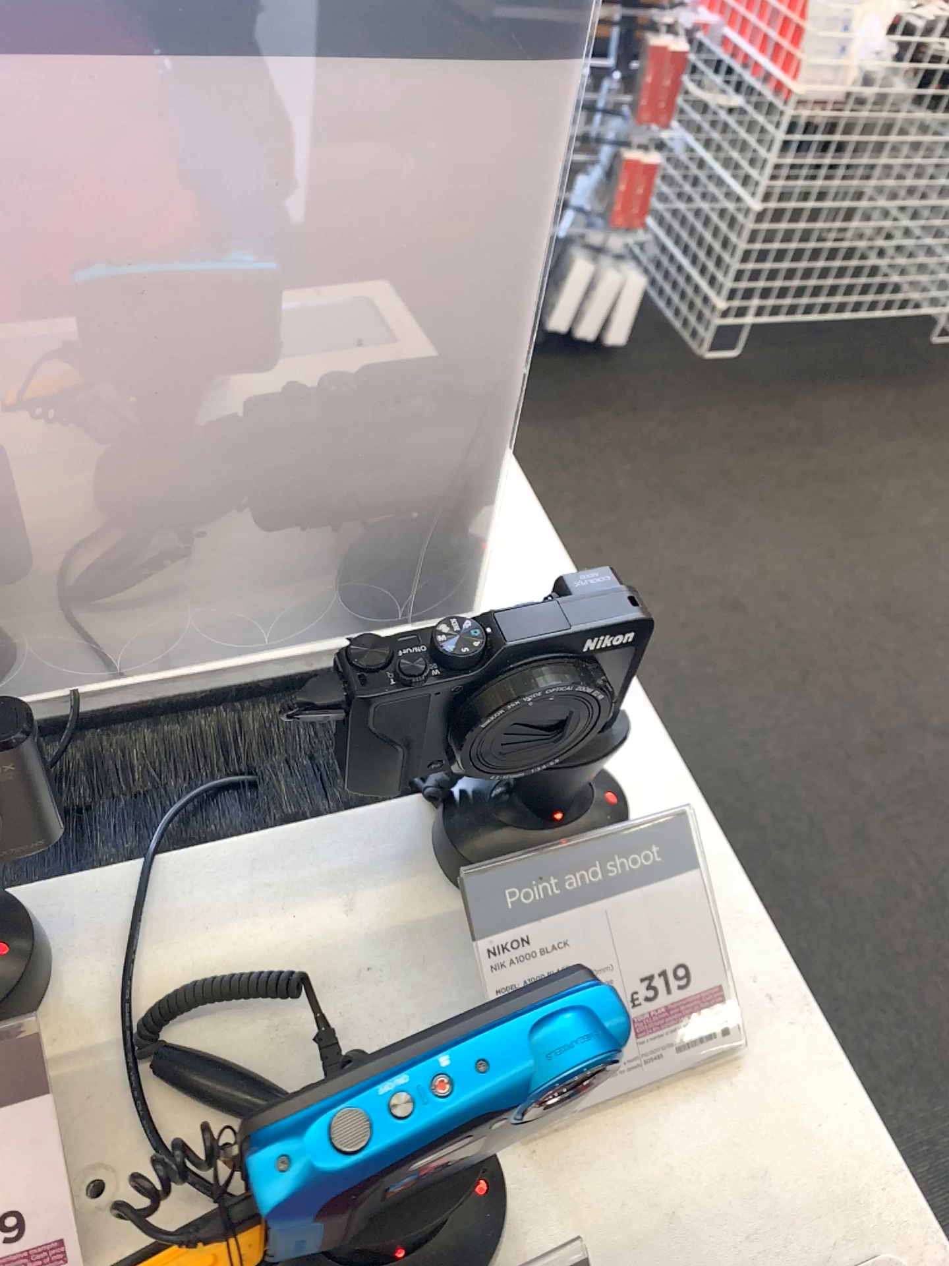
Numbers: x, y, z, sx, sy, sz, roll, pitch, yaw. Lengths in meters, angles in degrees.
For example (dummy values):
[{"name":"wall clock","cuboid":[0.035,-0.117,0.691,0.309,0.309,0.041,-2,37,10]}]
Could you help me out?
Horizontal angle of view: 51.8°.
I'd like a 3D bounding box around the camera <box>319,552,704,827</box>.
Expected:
[{"name":"camera","cuboid":[0.009,0.020,0.341,0.120,0.079,0.030,-11,51,-20]}]
